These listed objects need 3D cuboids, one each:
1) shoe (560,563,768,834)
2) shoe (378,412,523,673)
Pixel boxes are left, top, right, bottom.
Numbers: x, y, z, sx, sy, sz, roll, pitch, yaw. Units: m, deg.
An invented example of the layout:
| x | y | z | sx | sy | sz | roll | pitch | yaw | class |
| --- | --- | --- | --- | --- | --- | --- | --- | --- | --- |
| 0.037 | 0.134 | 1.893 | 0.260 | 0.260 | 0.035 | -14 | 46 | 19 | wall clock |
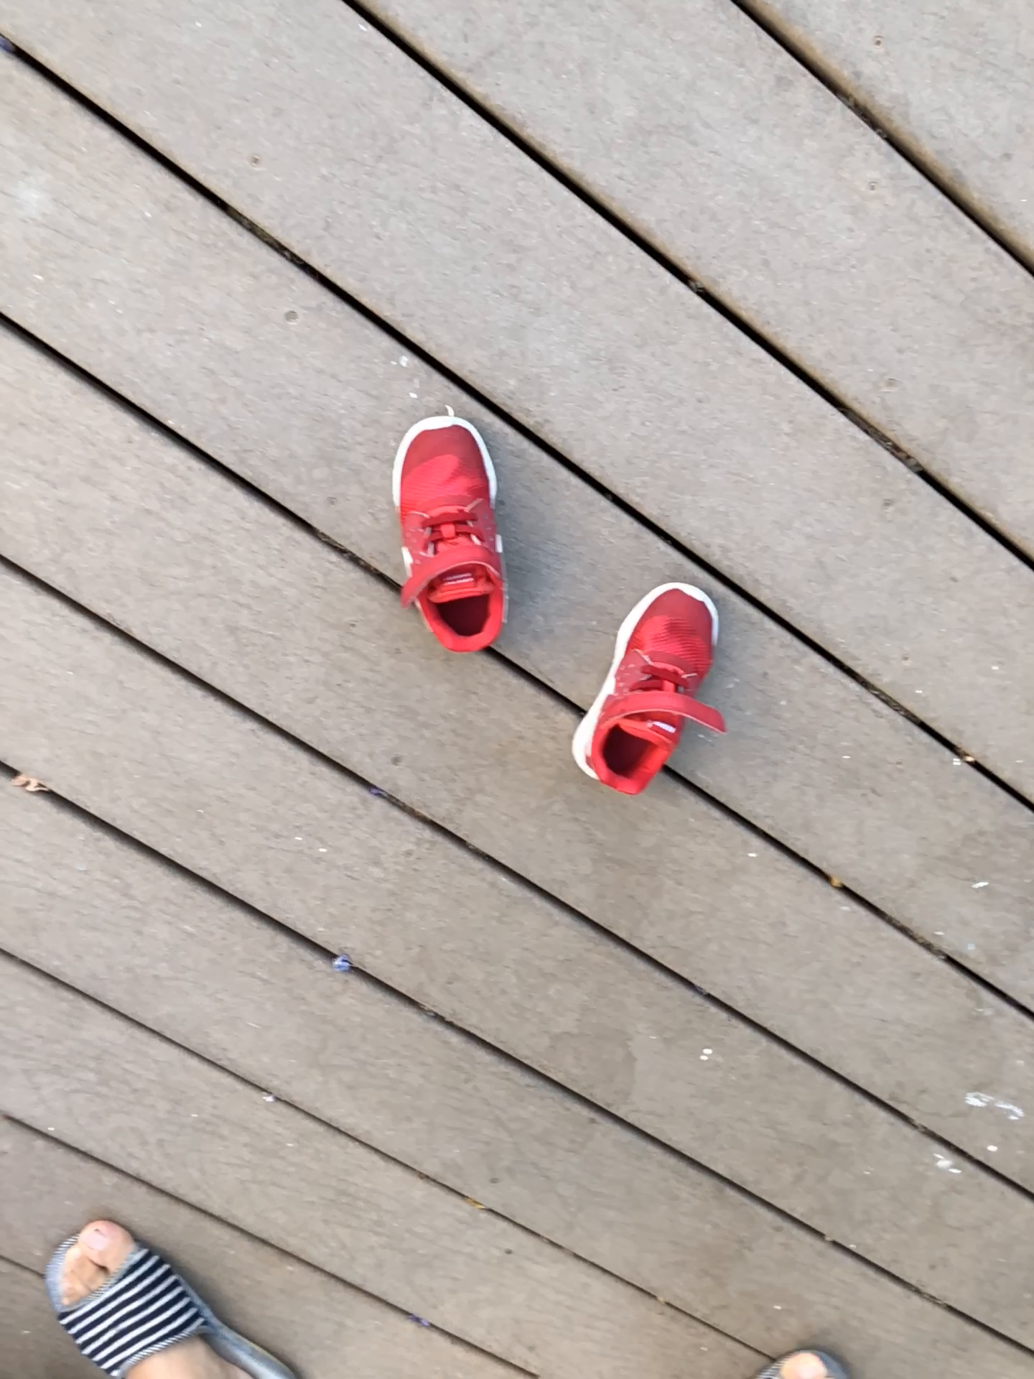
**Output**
| x | y | z | sx | sy | sz | roll | pitch | yaw | class |
| --- | --- | --- | --- | --- | --- | --- | --- | --- | --- |
| 0.099 | 0.006 | 0.800 | 0.069 | 0.069 | 0.164 | 21 | 107 | -12 | shoe |
| -0.043 | -0.098 | 0.753 | 0.073 | 0.069 | 0.153 | -8 | 110 | -2 | shoe |
